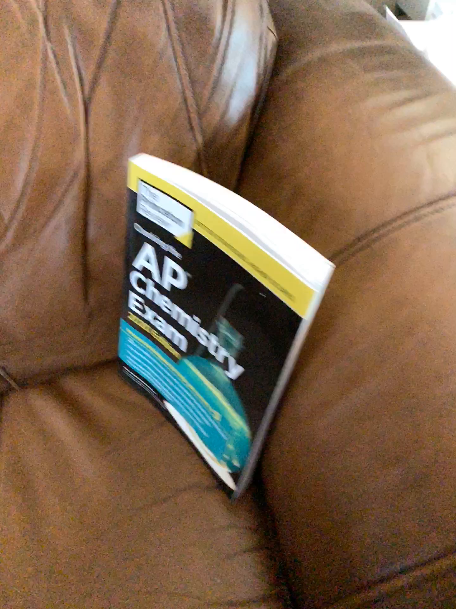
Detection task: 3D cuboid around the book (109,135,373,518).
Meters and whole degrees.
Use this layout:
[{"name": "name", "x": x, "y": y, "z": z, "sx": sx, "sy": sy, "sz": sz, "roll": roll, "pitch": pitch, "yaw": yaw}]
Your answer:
[{"name": "book", "x": -0.023, "y": 0.040, "z": 0.458, "sx": 0.040, "sy": 0.319, "sz": 0.240, "roll": -30, "pitch": 57, "yaw": -34}]
